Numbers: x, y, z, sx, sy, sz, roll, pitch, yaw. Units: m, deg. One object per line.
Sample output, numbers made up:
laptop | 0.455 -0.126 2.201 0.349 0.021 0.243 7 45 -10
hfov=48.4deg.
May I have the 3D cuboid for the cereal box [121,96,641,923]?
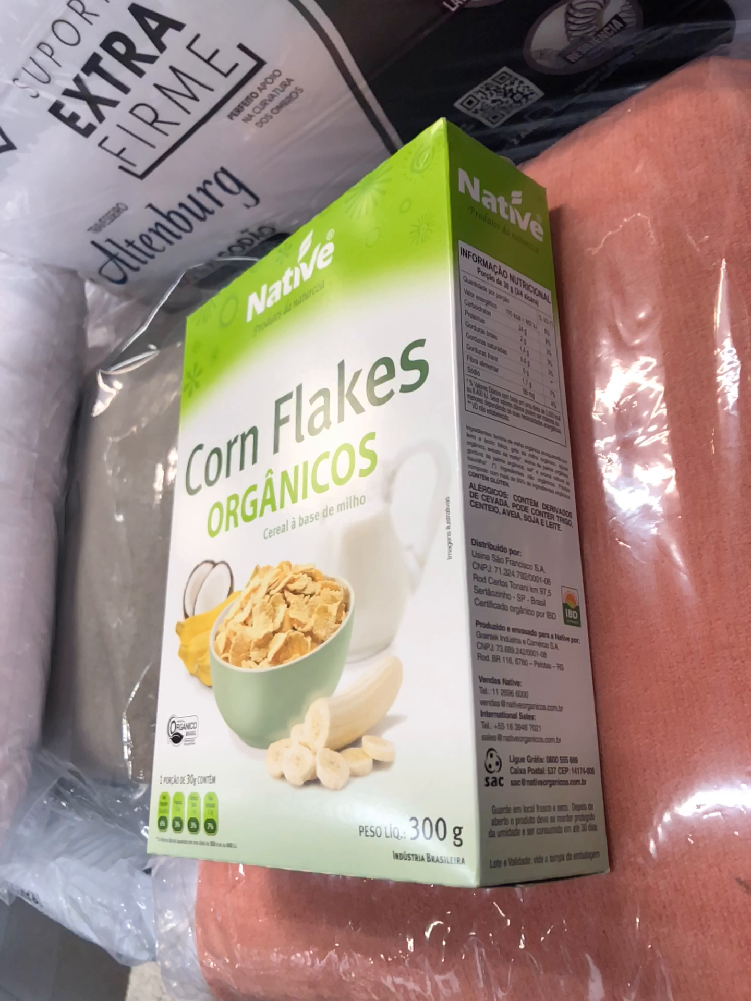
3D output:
cereal box | -0.012 0.011 0.311 0.181 0.060 0.240 -19 63 43
